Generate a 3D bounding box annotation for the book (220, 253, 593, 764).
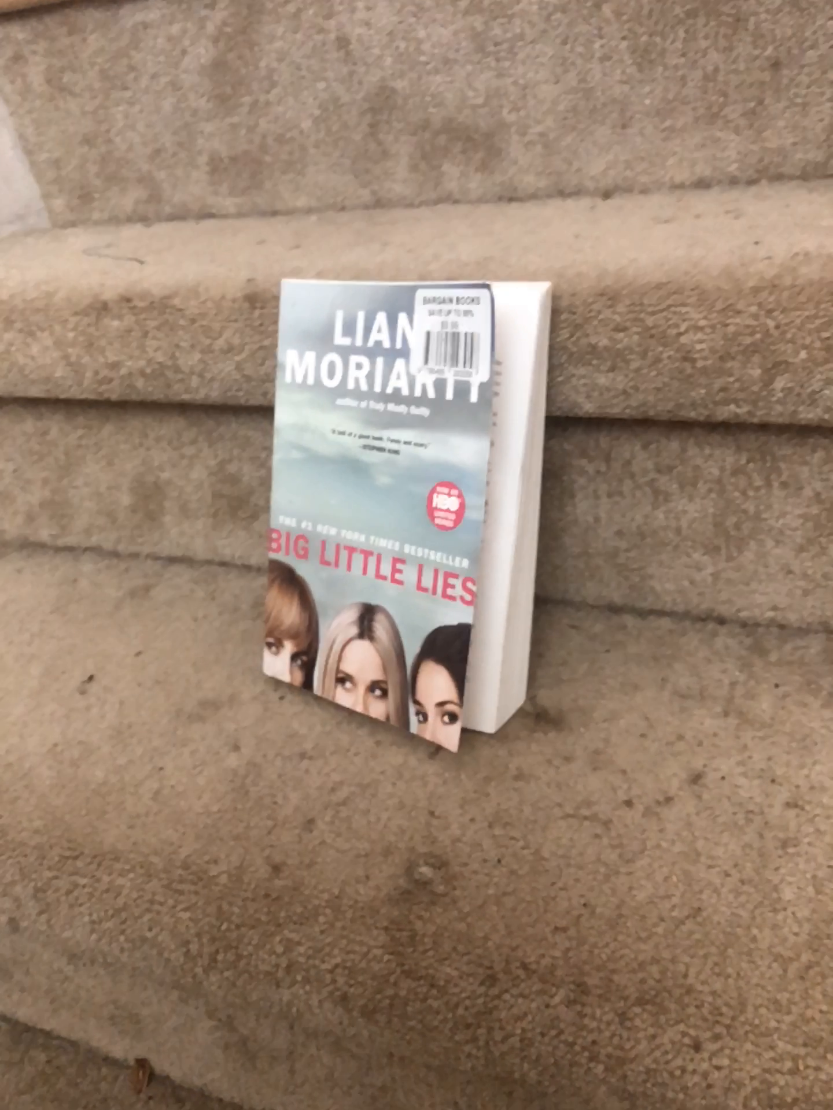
[{"bbox_3d":[-0.013,-0.030,0.438,0.160,0.209,0.050,12,13,32],"label":"book"}]
